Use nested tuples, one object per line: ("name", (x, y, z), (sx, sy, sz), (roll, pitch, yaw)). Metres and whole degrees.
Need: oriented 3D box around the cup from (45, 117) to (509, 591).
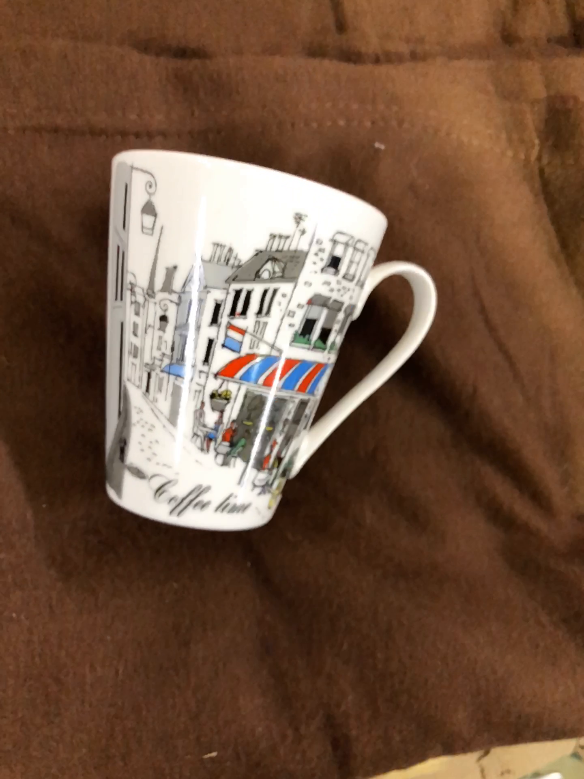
("cup", (-0.011, -0.007, 0.217), (0.110, 0.080, 0.110), (-2, 98, -17))
